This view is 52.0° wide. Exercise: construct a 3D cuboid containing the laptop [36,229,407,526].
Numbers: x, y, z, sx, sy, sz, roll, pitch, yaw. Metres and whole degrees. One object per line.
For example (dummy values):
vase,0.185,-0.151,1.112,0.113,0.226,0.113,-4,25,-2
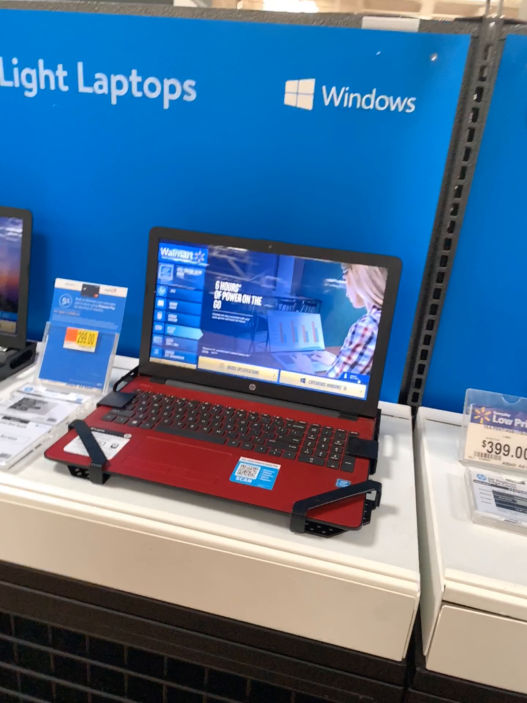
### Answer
laptop,-0.029,-0.001,0.678,0.364,0.223,0.280,10,22,12
